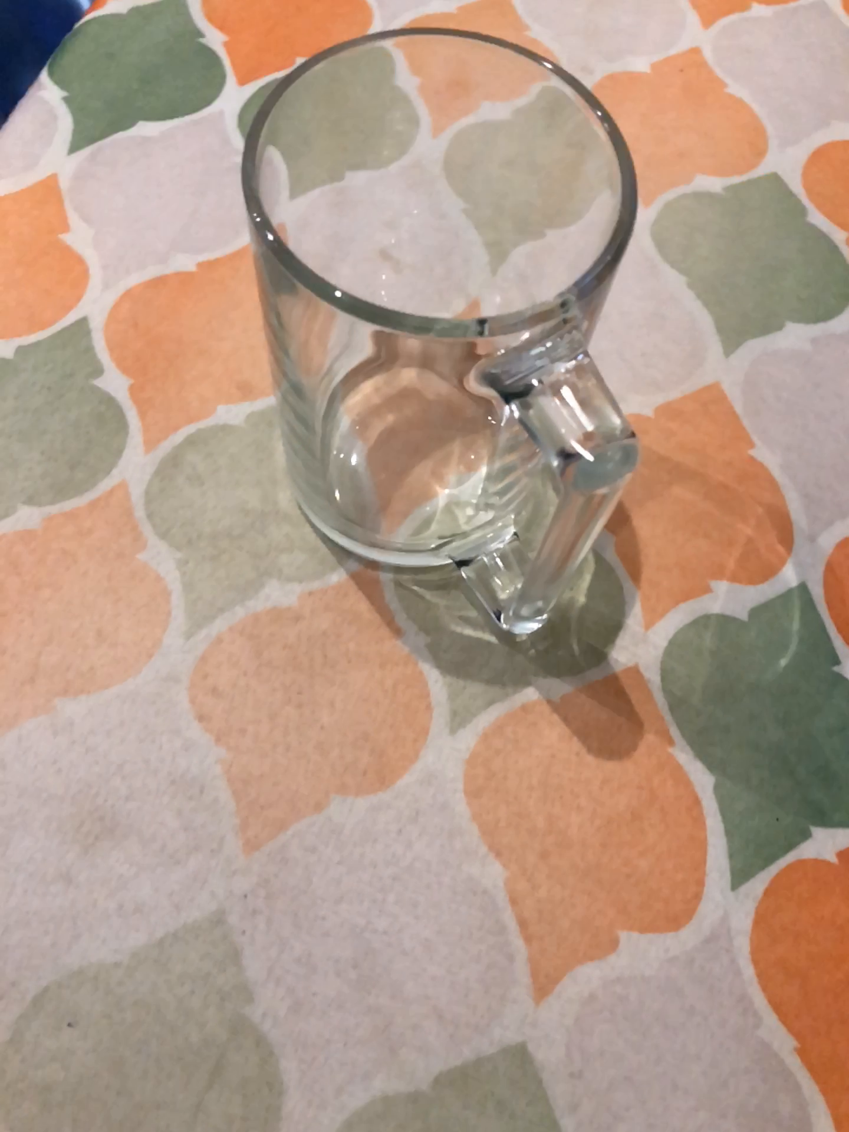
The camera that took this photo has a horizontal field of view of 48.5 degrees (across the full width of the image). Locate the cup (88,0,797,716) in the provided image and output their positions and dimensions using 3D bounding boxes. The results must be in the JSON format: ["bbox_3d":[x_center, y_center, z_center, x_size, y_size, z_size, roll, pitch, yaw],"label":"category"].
[{"bbox_3d":[-0.003,-0.046,0.211,0.080,0.100,0.110,-27,69,-14],"label":"cup"}]
